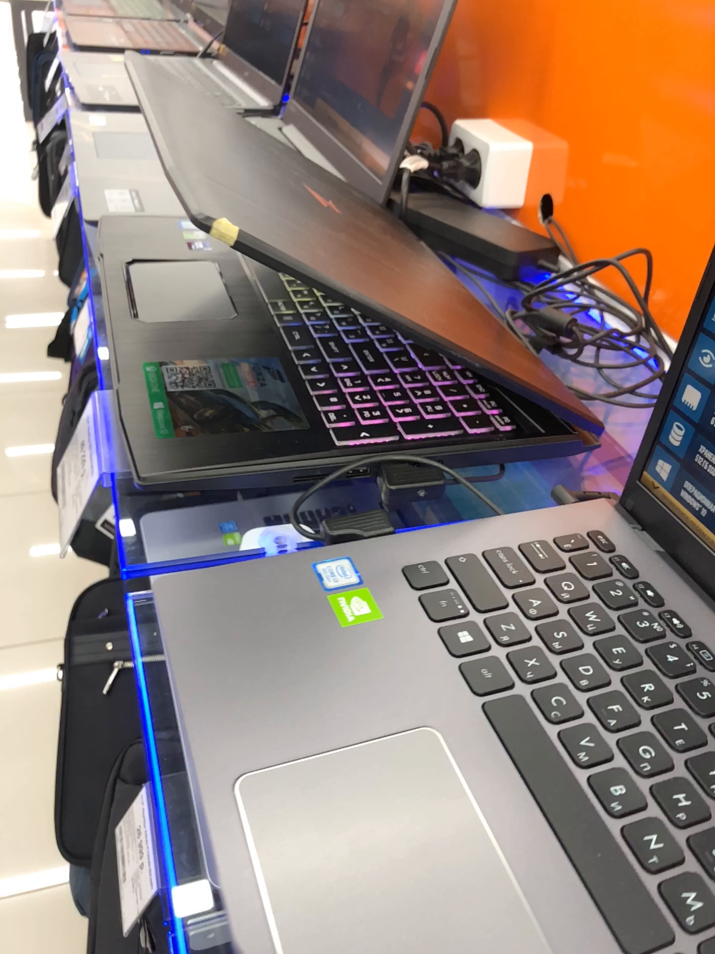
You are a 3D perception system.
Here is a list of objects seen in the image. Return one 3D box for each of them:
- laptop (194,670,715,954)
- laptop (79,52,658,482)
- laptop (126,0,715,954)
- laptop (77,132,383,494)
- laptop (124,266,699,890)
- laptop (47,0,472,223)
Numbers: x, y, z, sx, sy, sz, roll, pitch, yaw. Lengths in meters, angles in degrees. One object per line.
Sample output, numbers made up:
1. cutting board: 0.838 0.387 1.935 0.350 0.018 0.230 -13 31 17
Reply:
1. laptop: 0.086 0.305 0.264 0.229 0.240 0.360 -6 36 -17
2. laptop: -0.037 -0.167 0.509 0.243 0.121 0.366 -7 38 -17
3. laptop: 0.095 0.034 0.160 0.230 0.216 0.353 -9 37 -20
4. laptop: -0.179 -0.221 0.975 0.272 0.270 0.408 -5 37 -18
5. laptop: -0.014 0.035 0.639 0.287 0.256 0.396 -7 37 -17
6. laptop: -0.119 -0.431 0.775 0.318 0.228 0.360 -7 38 -18
